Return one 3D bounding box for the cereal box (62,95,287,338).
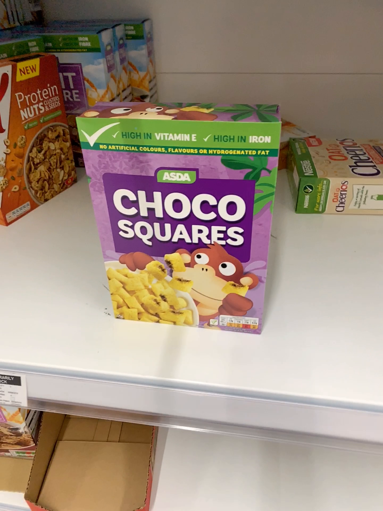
[{"bbox_3d":[-0.009,-0.032,0.419,0.190,0.247,0.061,5,36,10],"label":"cereal box"}]
